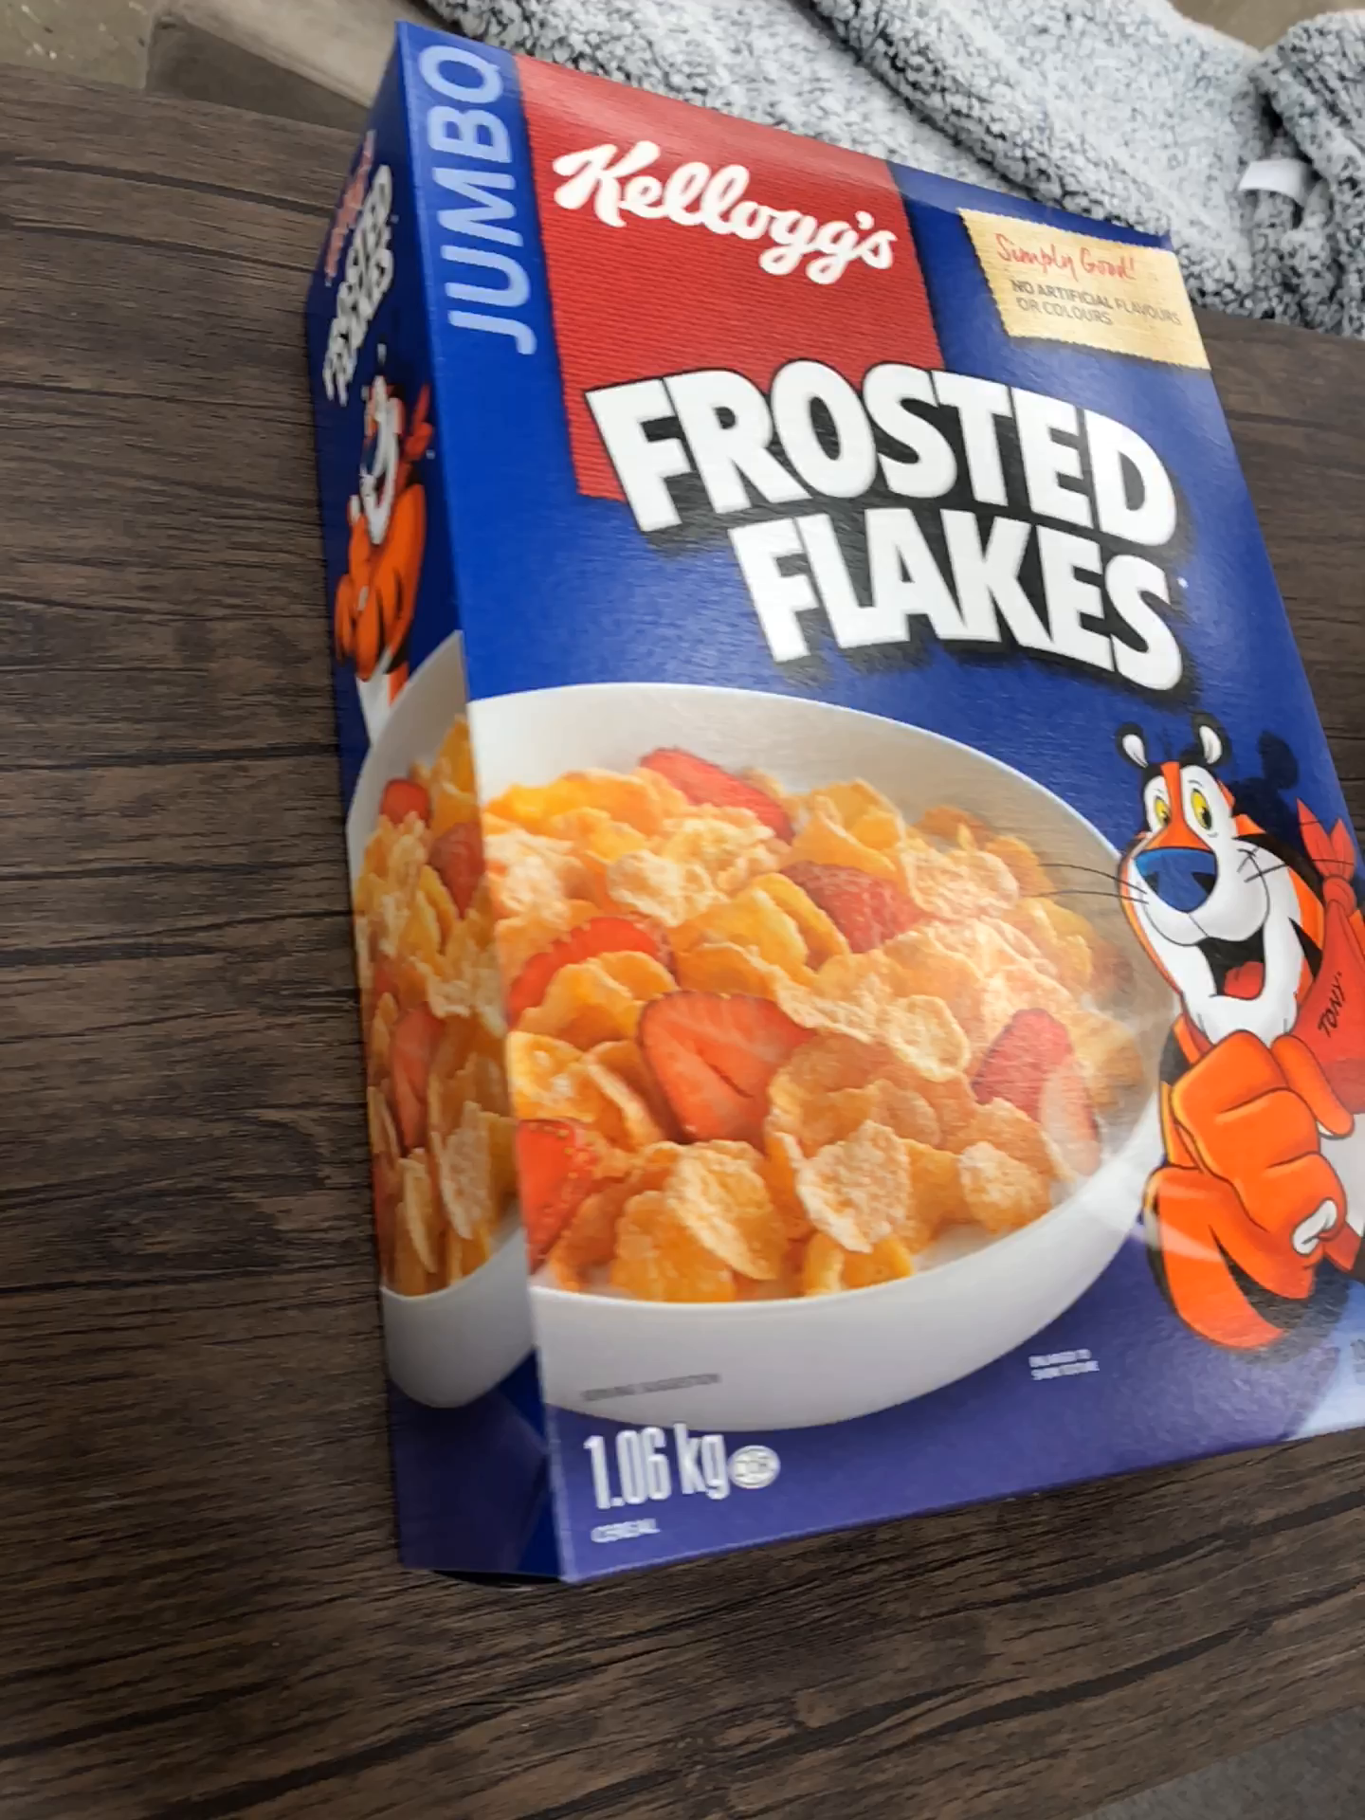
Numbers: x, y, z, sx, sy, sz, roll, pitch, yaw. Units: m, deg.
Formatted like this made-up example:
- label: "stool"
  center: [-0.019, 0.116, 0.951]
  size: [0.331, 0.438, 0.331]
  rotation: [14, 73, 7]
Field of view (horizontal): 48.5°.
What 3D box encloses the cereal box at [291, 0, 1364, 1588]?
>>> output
- label: "cereal box"
  center: [0.045, -0.047, 0.391]
  size: [0.251, 0.100, 0.370]
  rotation: [2, 68, -26]
